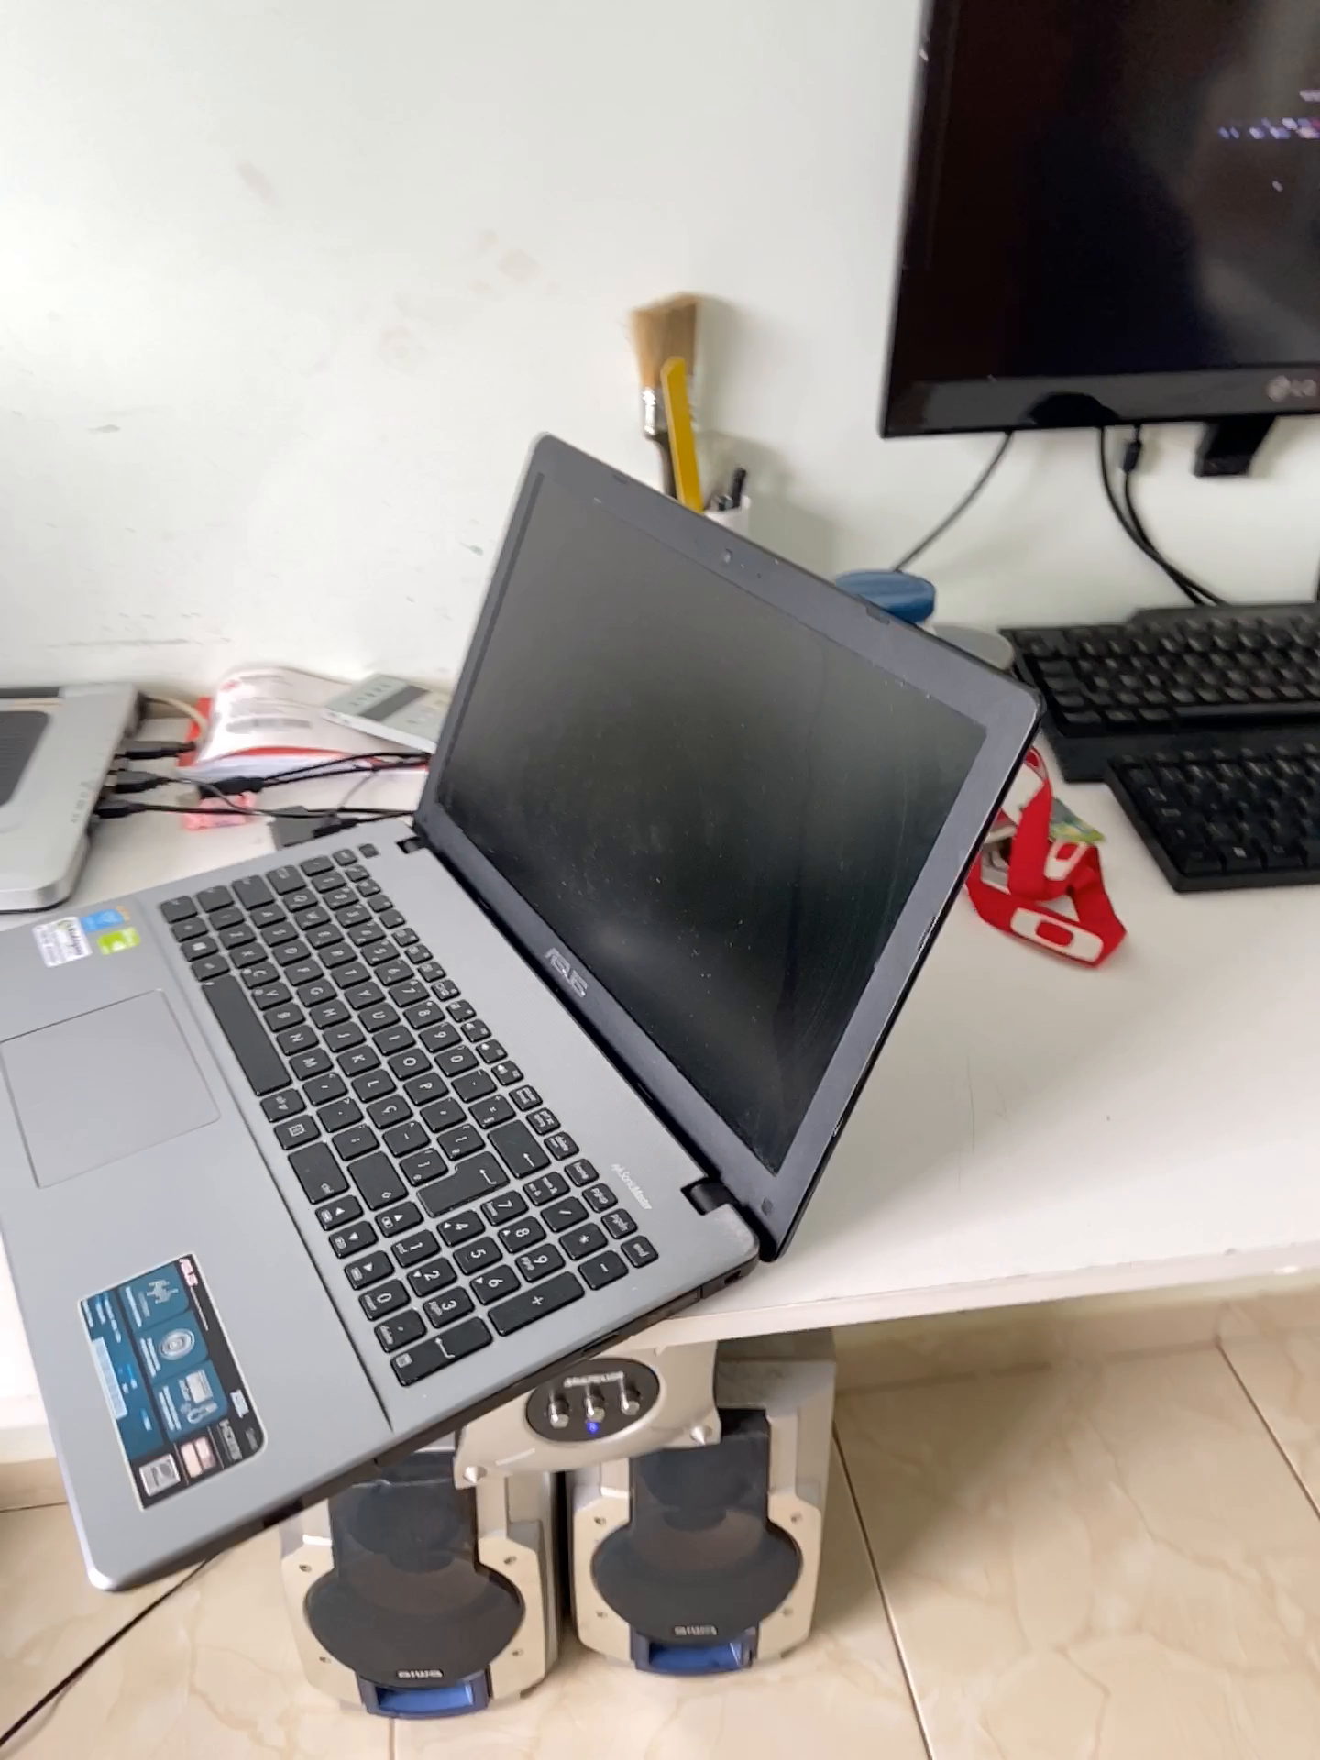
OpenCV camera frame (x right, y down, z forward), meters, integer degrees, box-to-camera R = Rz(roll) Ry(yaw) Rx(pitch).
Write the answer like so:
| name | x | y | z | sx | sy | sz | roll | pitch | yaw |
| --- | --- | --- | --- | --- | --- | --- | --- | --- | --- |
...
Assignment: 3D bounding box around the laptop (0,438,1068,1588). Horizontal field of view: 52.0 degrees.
| name | x | y | z | sx | sy | sz | roll | pitch | yaw |
| --- | --- | --- | --- | --- | --- | --- | --- | --- | --- |
| laptop | -0.114 | -0.009 | 0.573 | 0.356 | 0.213 | 0.377 | -18 | 37 | -26 |
